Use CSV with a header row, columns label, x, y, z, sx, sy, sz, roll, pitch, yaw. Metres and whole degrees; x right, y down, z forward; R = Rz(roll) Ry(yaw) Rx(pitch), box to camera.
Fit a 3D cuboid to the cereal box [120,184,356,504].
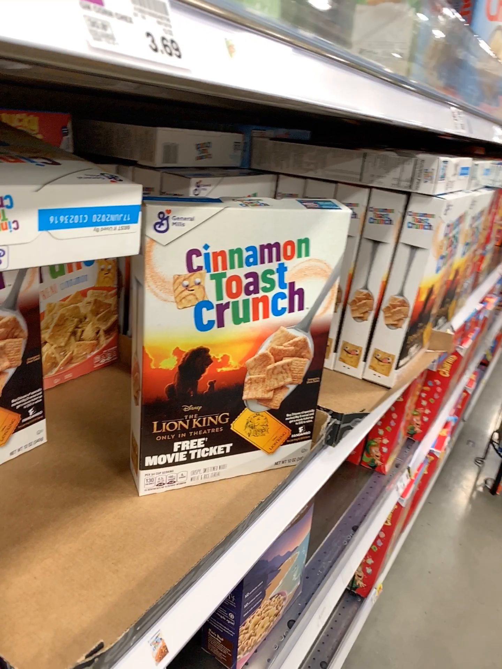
label,x,y,z,sx,sy,sz,roll,pitch,yaw
cereal box,-0.021,0.009,0.489,0.190,0.279,0.060,-5,25,-25
